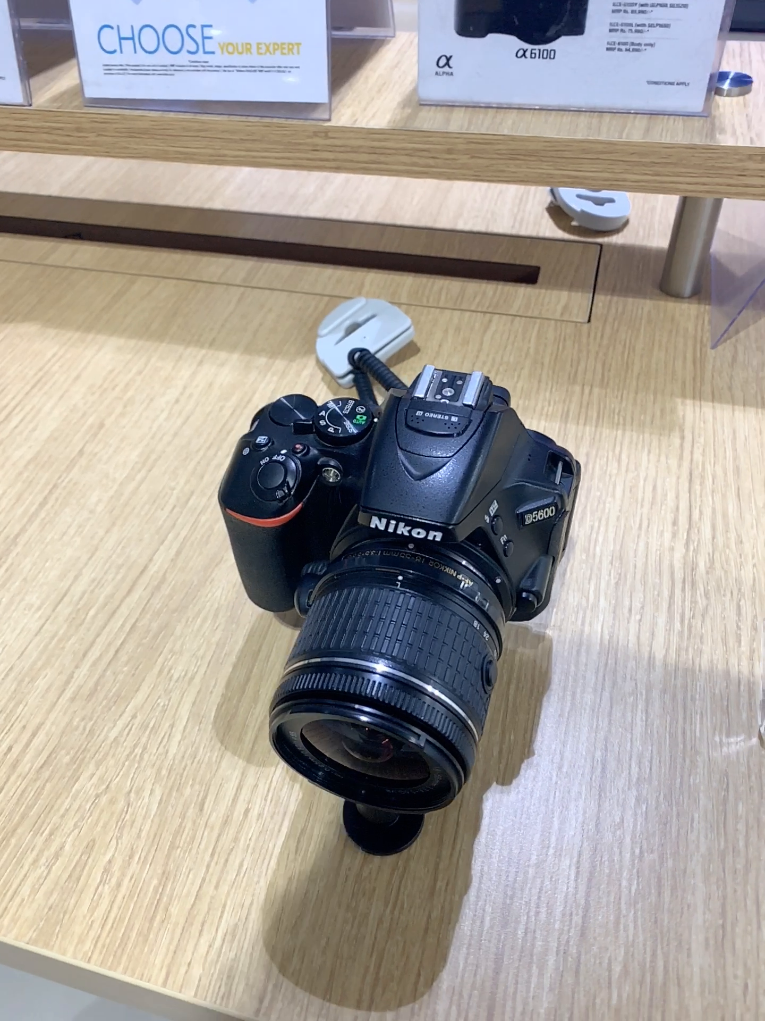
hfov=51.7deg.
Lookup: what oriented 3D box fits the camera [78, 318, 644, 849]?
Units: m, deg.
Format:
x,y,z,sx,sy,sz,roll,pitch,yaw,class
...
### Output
x,y,z,sx,sy,sz,roll,pitch,yaw,class
0.004,0.015,0.241,0.124,0.080,0.114,11,48,13,camera
